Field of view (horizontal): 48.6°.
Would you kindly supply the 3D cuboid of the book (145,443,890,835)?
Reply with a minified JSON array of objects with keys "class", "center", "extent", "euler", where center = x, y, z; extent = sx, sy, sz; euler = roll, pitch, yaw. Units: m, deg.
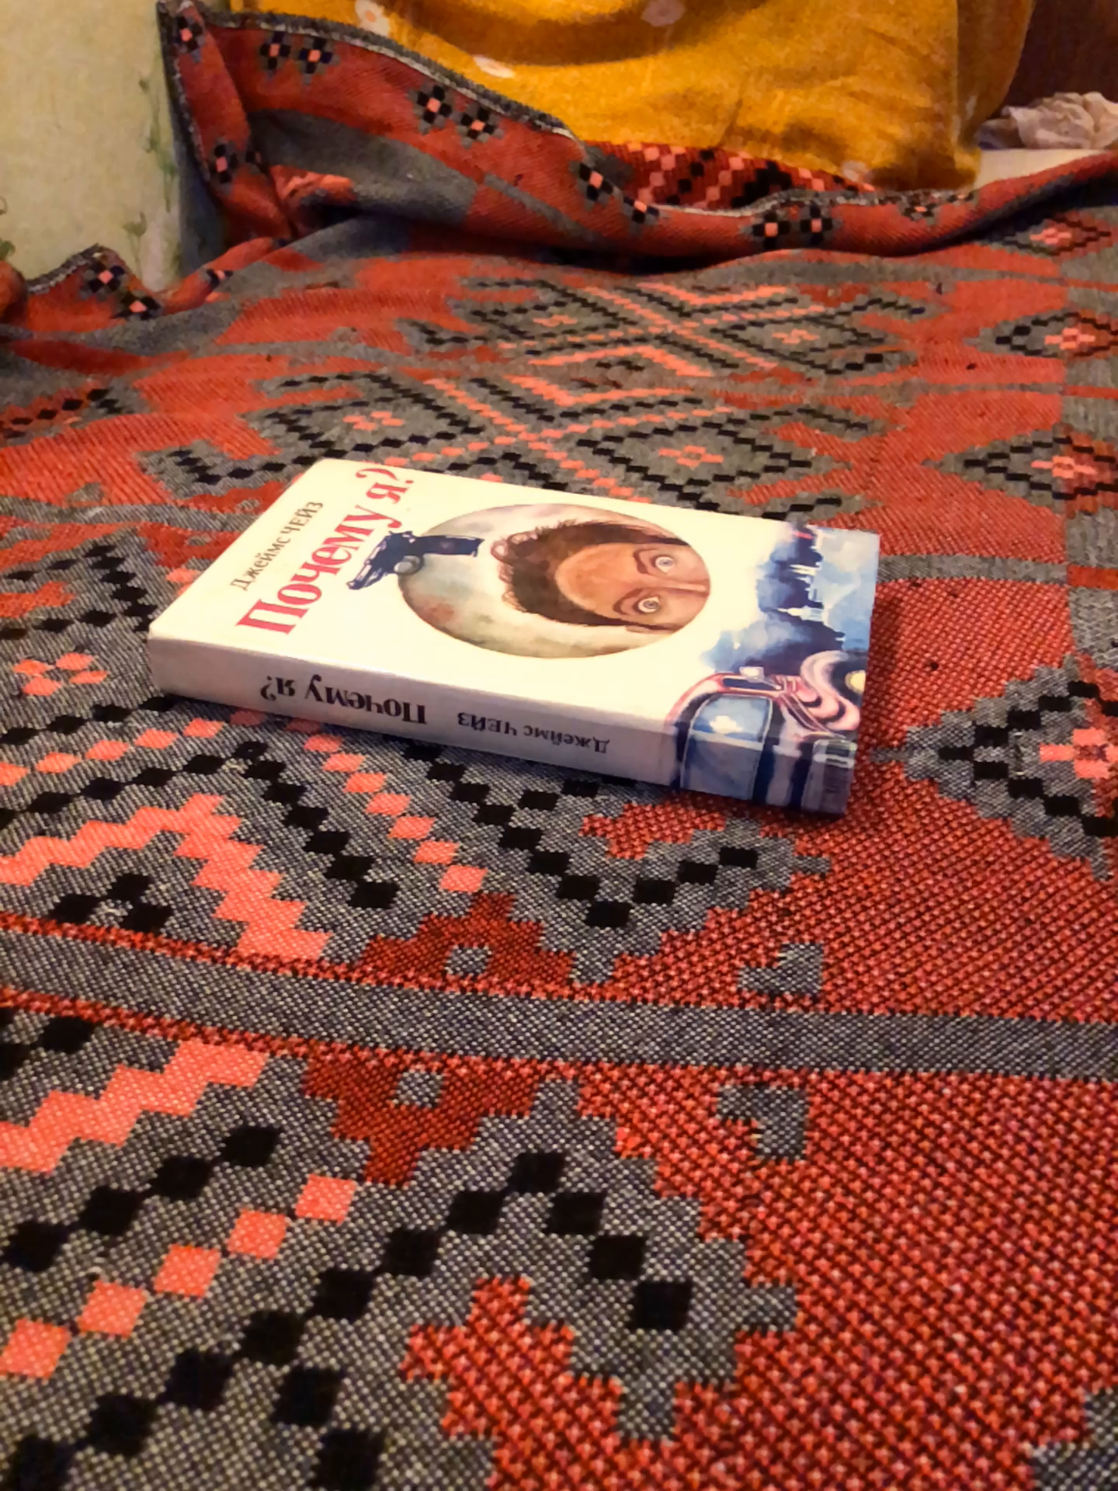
[{"class":"book","center":[-0.003,-0.044,0.394],"extent":[0.204,0.029,0.134],"euler":[10,37,9]}]
